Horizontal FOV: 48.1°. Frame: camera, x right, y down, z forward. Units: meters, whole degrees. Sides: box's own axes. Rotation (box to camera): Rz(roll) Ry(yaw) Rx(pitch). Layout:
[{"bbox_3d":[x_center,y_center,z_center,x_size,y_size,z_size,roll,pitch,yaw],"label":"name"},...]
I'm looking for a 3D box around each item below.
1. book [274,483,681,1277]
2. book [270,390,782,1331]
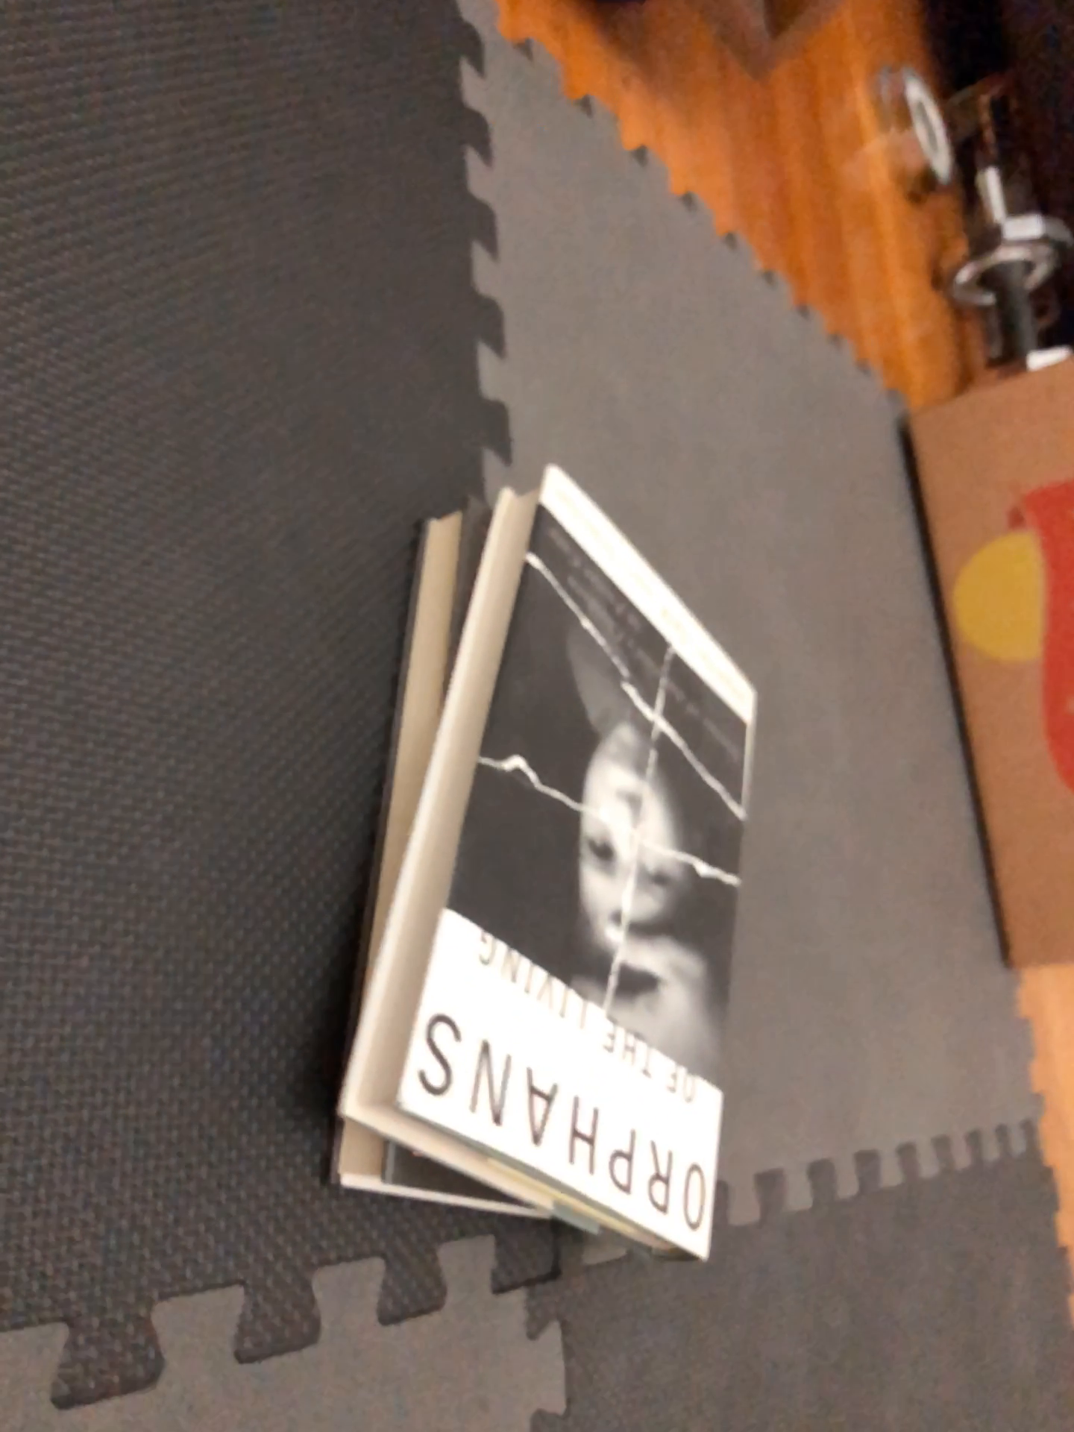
[{"bbox_3d":[-0.005,0.062,0.437,0.161,0.030,0.250,30,54,-43],"label":"book"},{"bbox_3d":[0.022,0.045,0.429,0.181,0.030,0.281,40,47,-36],"label":"book"}]
